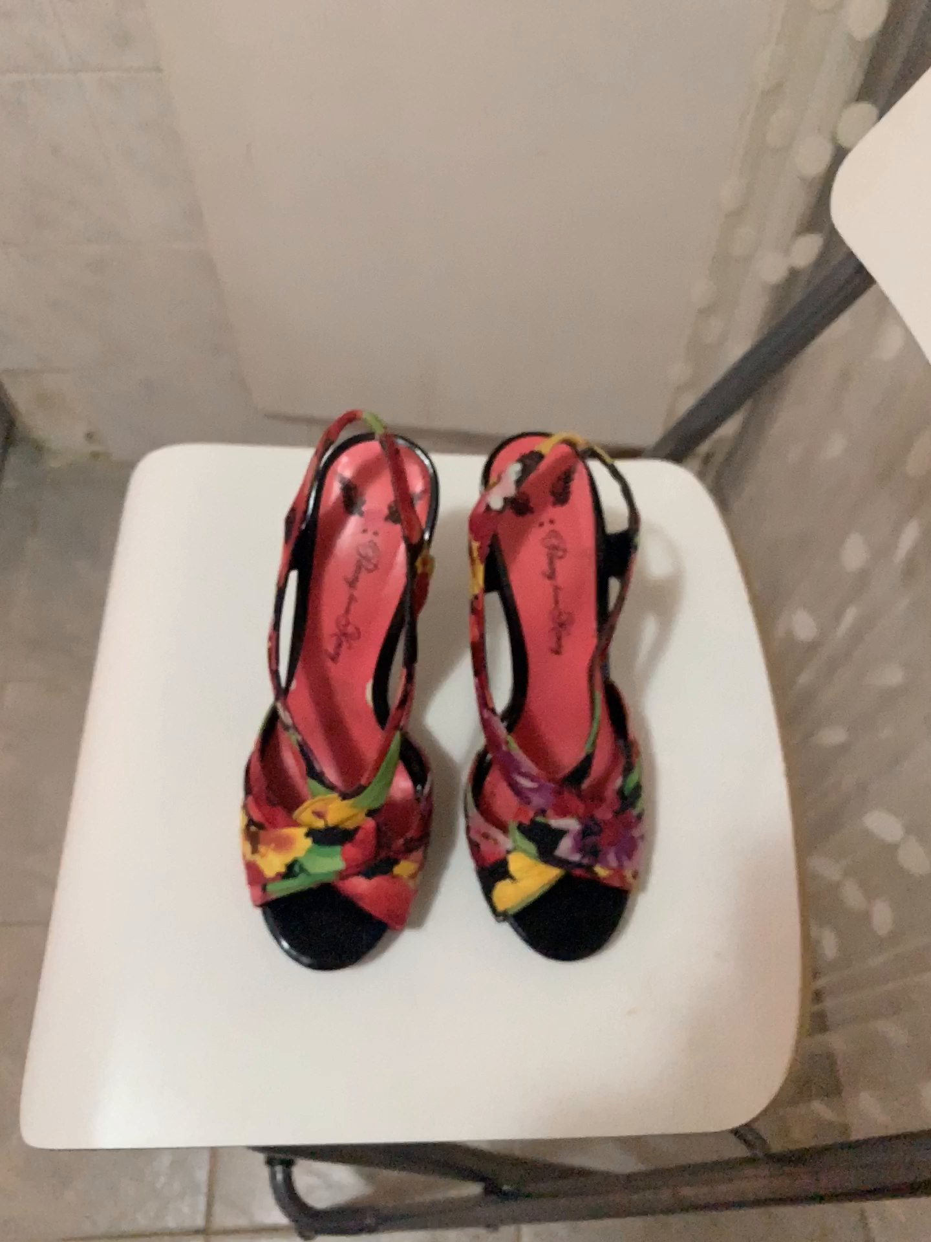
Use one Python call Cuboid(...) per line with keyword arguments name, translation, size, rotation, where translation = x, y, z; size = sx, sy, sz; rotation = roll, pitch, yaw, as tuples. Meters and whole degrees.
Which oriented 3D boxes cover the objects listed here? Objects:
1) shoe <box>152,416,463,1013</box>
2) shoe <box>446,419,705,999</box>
Cuboid(name="shoe", translation=(-0.053, 0.034, 0.376), size=(0.082, 0.074, 0.205), rotation=(5, 77, 2))
Cuboid(name="shoe", translation=(0.035, 0.033, 0.384), size=(0.080, 0.086, 0.205), rotation=(-2, 77, -2))
